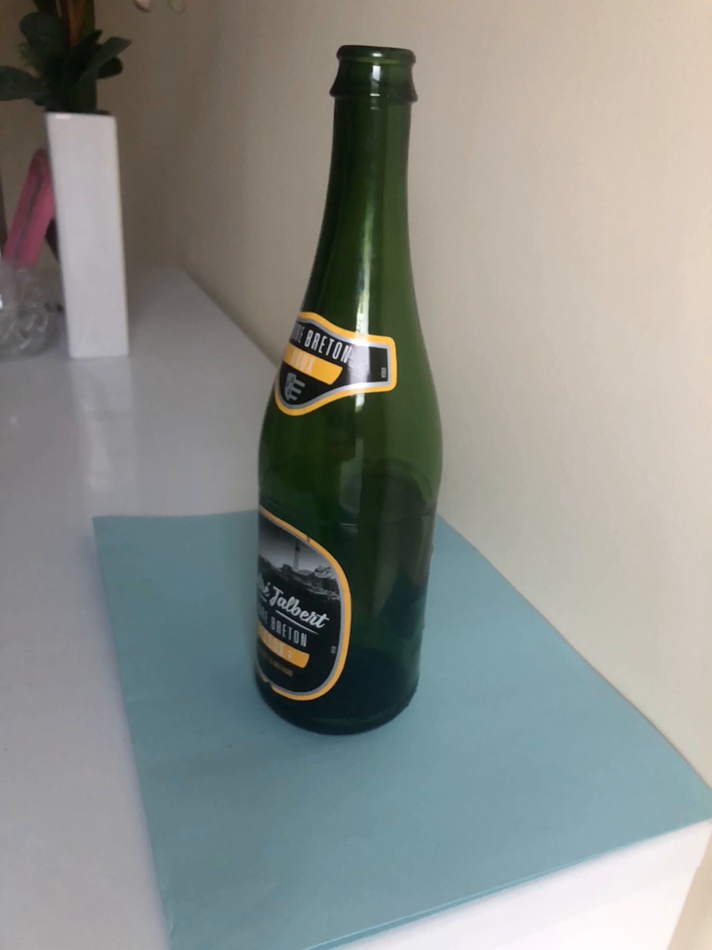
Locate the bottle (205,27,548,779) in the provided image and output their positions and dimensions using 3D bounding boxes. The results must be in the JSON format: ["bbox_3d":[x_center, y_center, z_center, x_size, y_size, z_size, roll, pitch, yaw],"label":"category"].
[{"bbox_3d":[-0.003,-0.023,0.332,0.080,0.278,0.090,-15,31,-35],"label":"bottle"}]
